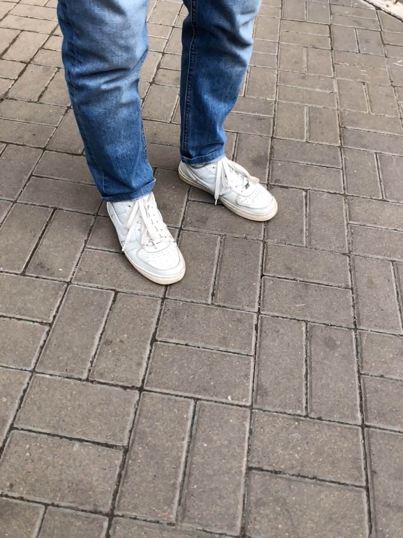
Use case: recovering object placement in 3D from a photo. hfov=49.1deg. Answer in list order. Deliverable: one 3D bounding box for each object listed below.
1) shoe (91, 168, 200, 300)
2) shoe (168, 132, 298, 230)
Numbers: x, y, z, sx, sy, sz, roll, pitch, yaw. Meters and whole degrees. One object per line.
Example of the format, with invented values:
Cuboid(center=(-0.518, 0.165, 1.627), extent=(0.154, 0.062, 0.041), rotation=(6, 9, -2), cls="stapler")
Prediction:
Cuboid(center=(-0.127, -0.087, 0.968), extent=(0.120, 0.070, 0.301), rotation=(-22, 57, -18), cls="shoe")
Cuboid(center=(0.070, -0.221, 1.083), extent=(0.301, 0.070, 0.111), rotation=(31, 58, 19), cls="shoe")
